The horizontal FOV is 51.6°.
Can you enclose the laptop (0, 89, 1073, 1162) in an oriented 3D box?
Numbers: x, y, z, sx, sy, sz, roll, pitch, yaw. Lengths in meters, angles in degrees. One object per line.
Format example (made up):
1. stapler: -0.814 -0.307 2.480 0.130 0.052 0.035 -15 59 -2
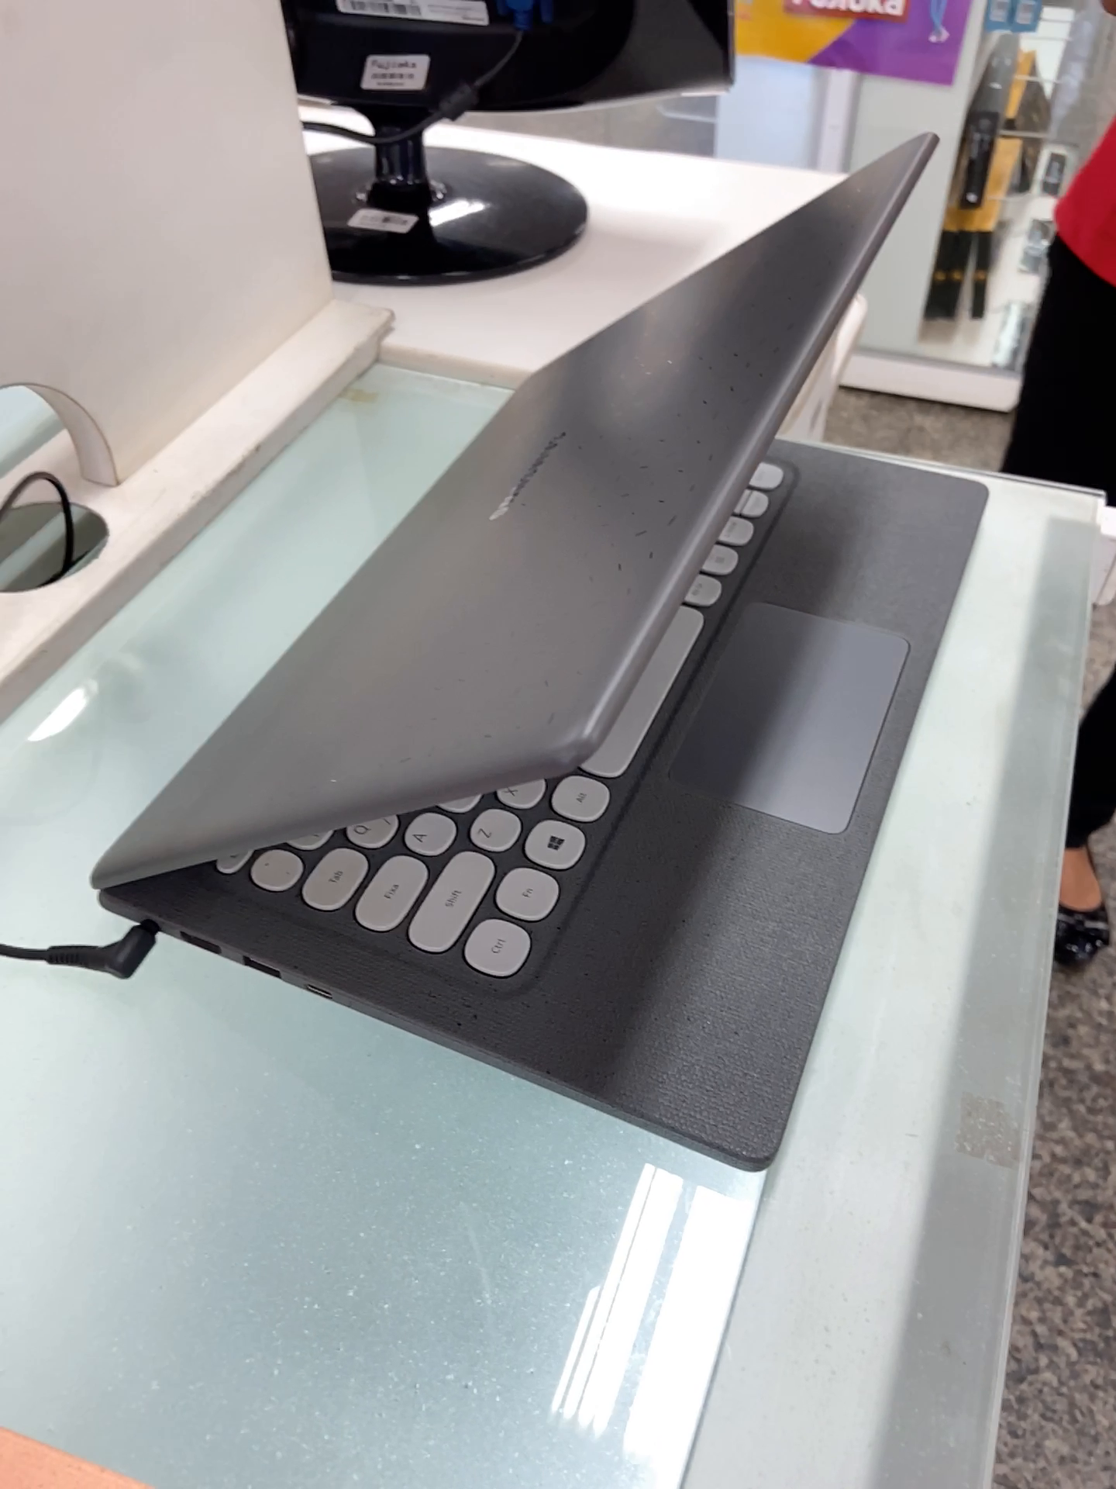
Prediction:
1. laptop: 0.018 -0.077 0.372 0.211 0.132 0.318 17 49 17
